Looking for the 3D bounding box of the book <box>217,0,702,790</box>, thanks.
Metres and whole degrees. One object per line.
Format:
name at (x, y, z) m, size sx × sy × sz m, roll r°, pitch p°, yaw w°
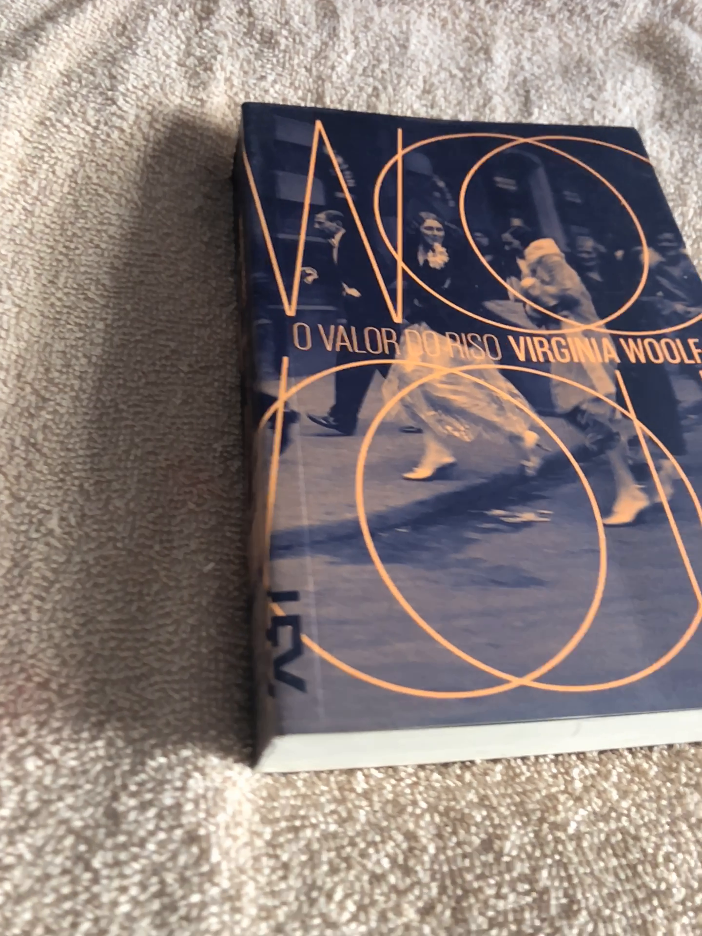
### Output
book at (0.040, -0.029, 0.199) m, size 0.140 × 0.050 × 0.191 m, roll 2°, pitch 60°, yaw -14°
